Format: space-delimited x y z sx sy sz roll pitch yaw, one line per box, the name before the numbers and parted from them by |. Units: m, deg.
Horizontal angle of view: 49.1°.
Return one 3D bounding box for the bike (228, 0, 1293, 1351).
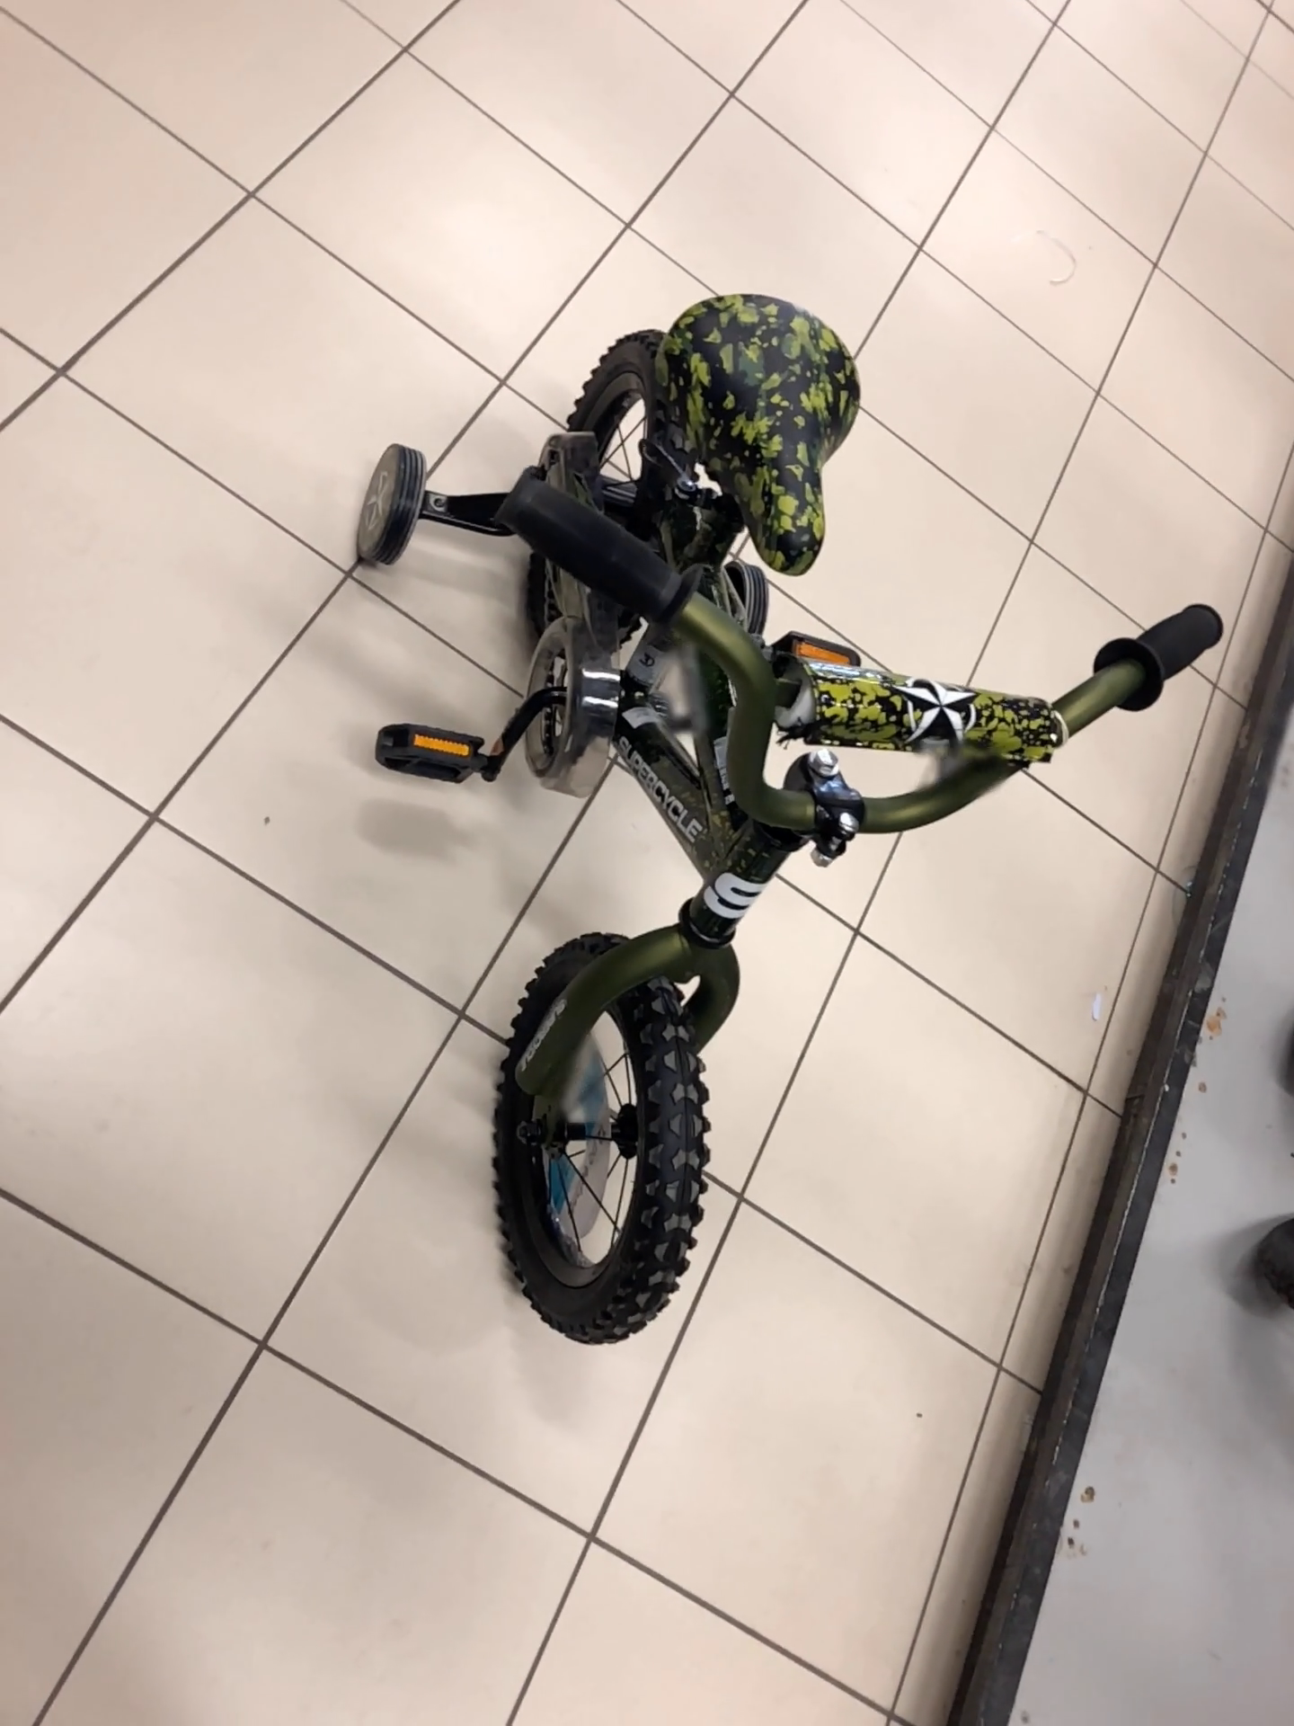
bike | 0.054 -0.101 0.999 0.533 0.557 0.817 9 65 -23
